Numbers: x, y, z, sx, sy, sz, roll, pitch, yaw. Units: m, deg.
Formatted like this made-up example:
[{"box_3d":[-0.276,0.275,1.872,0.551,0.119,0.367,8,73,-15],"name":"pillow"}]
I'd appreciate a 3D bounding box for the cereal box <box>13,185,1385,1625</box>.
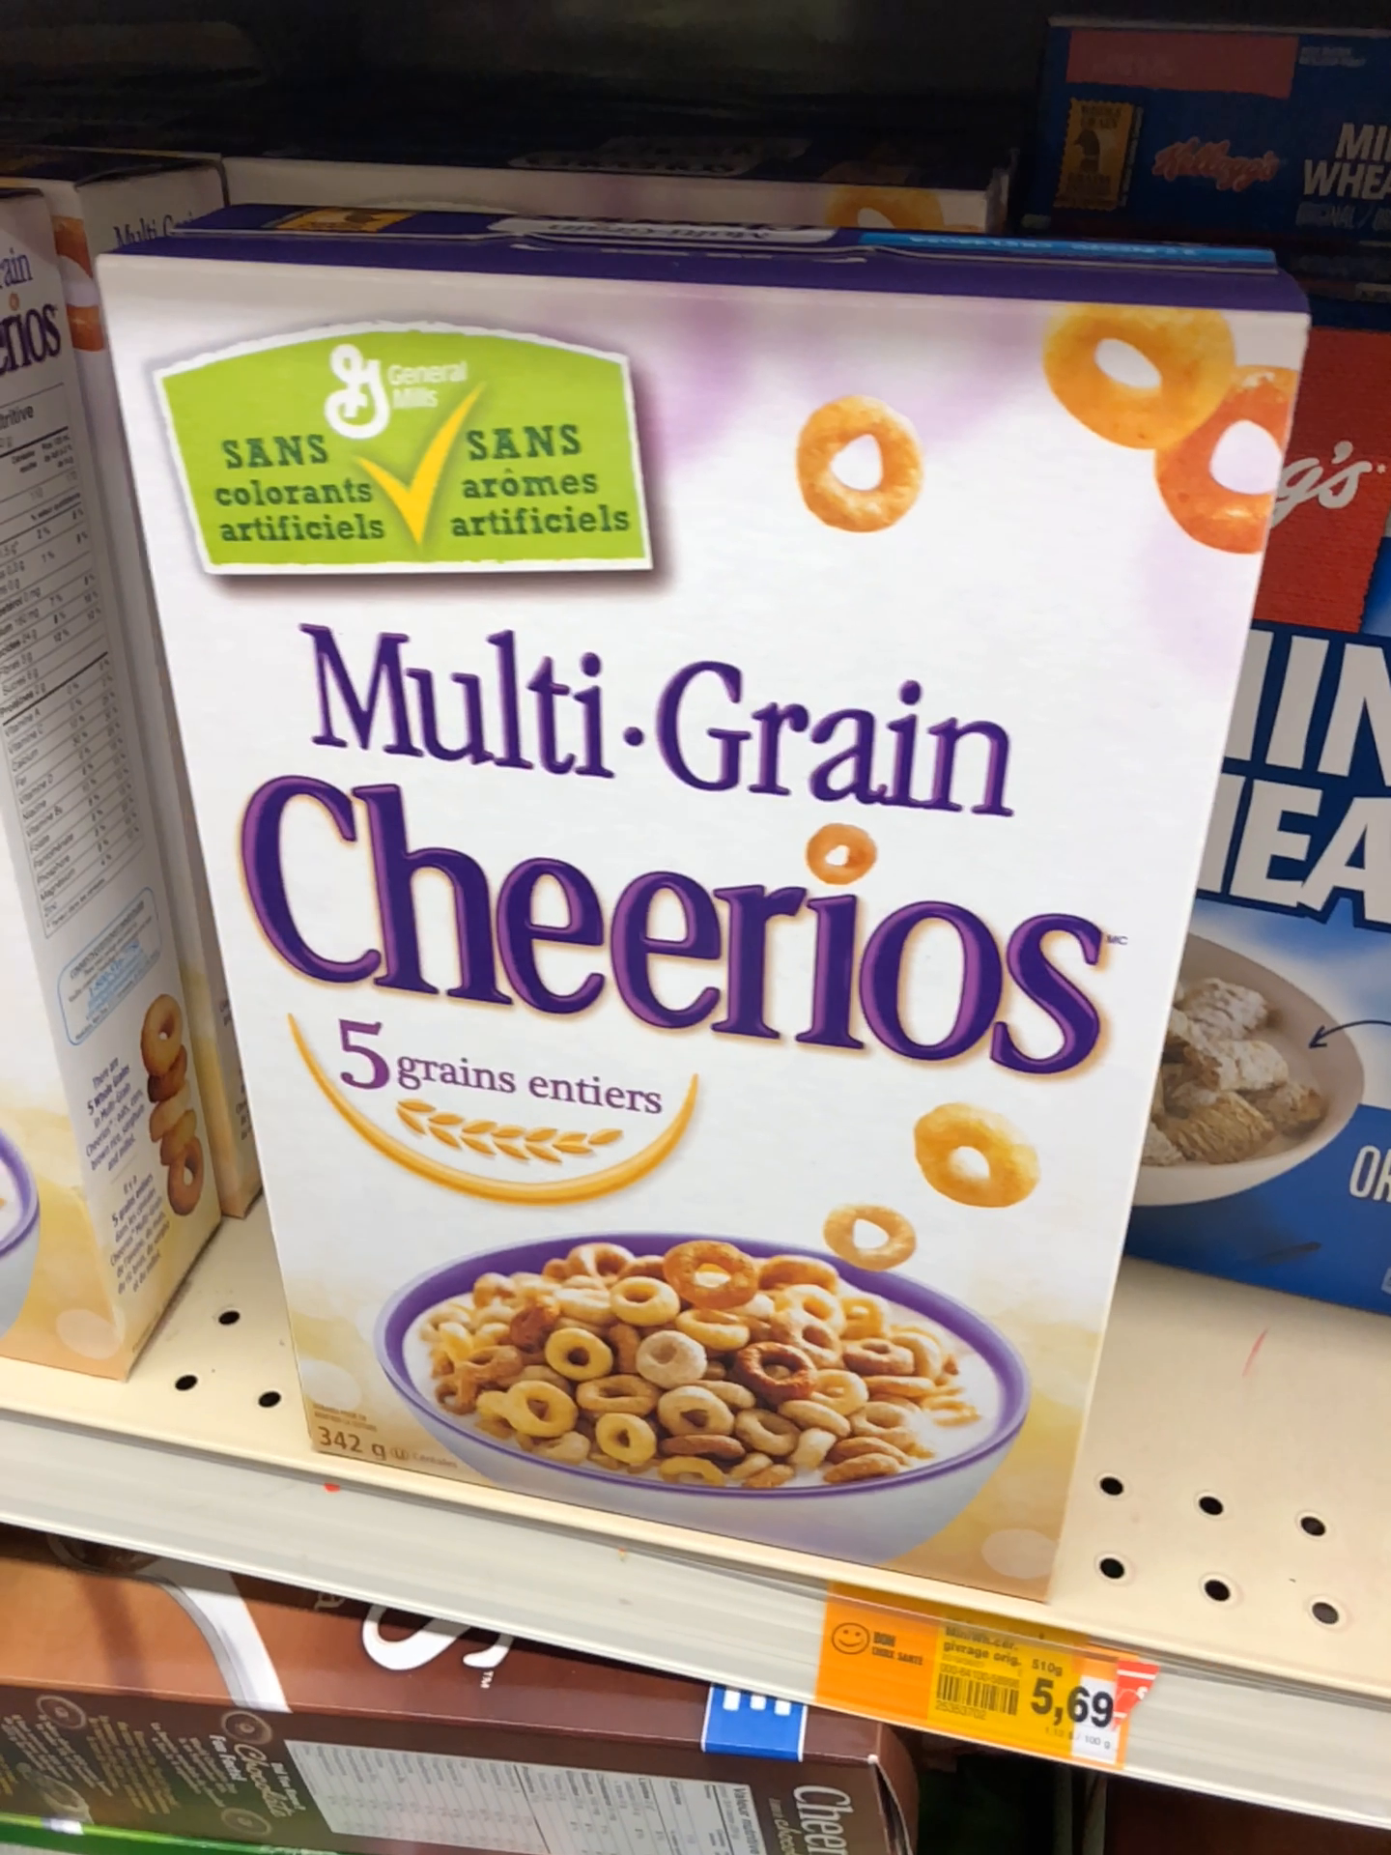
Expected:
[{"box_3d":[-0.003,0.009,0.316,0.200,0.278,0.060,8,32,11],"name":"cereal box"}]
